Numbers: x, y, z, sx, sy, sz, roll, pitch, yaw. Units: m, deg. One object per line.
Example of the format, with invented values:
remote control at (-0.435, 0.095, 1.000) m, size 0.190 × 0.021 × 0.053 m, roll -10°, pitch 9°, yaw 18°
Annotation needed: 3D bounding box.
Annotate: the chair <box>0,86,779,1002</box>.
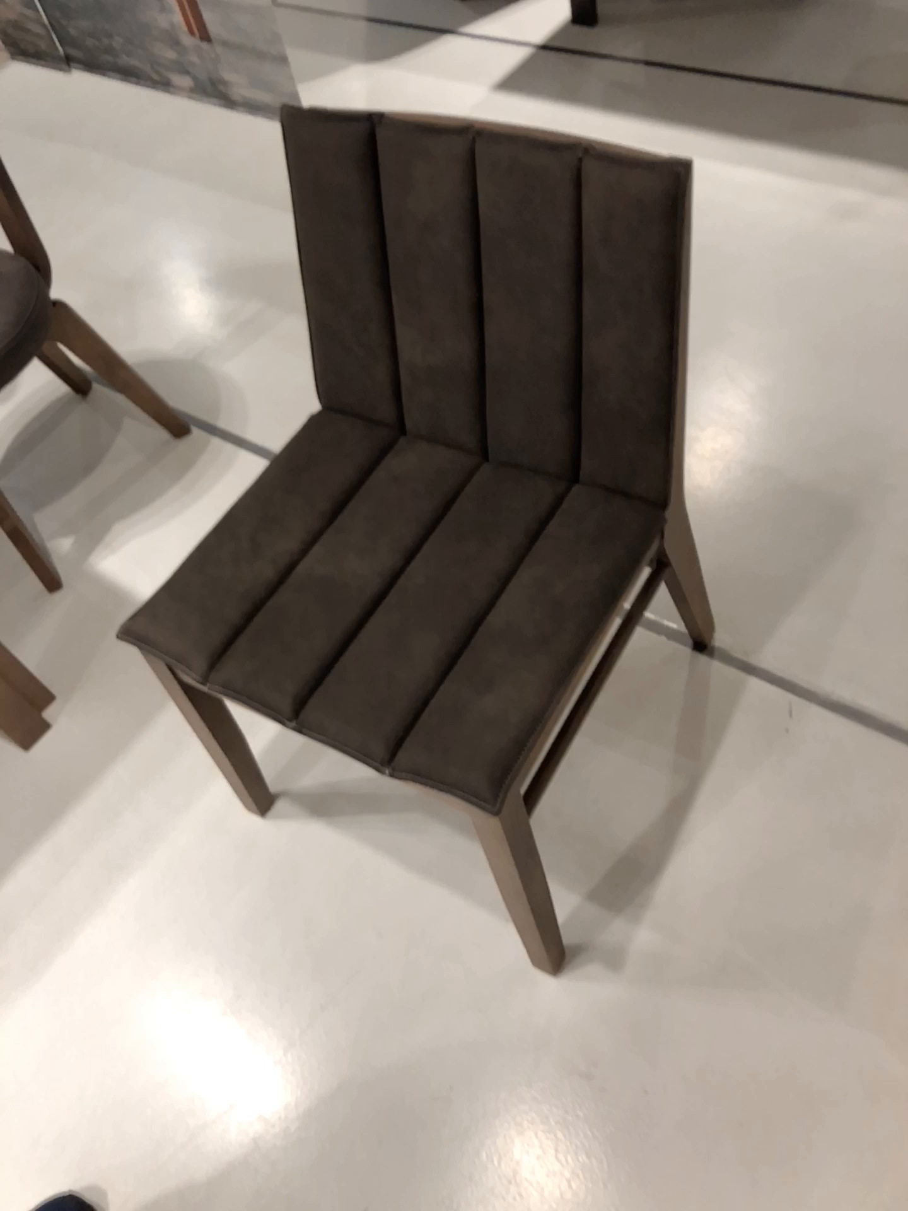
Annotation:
chair at (-0.017, -0.042, 1.156) m, size 0.541 × 0.776 × 0.572 m, roll 21°, pitch 62°, yaw 26°
